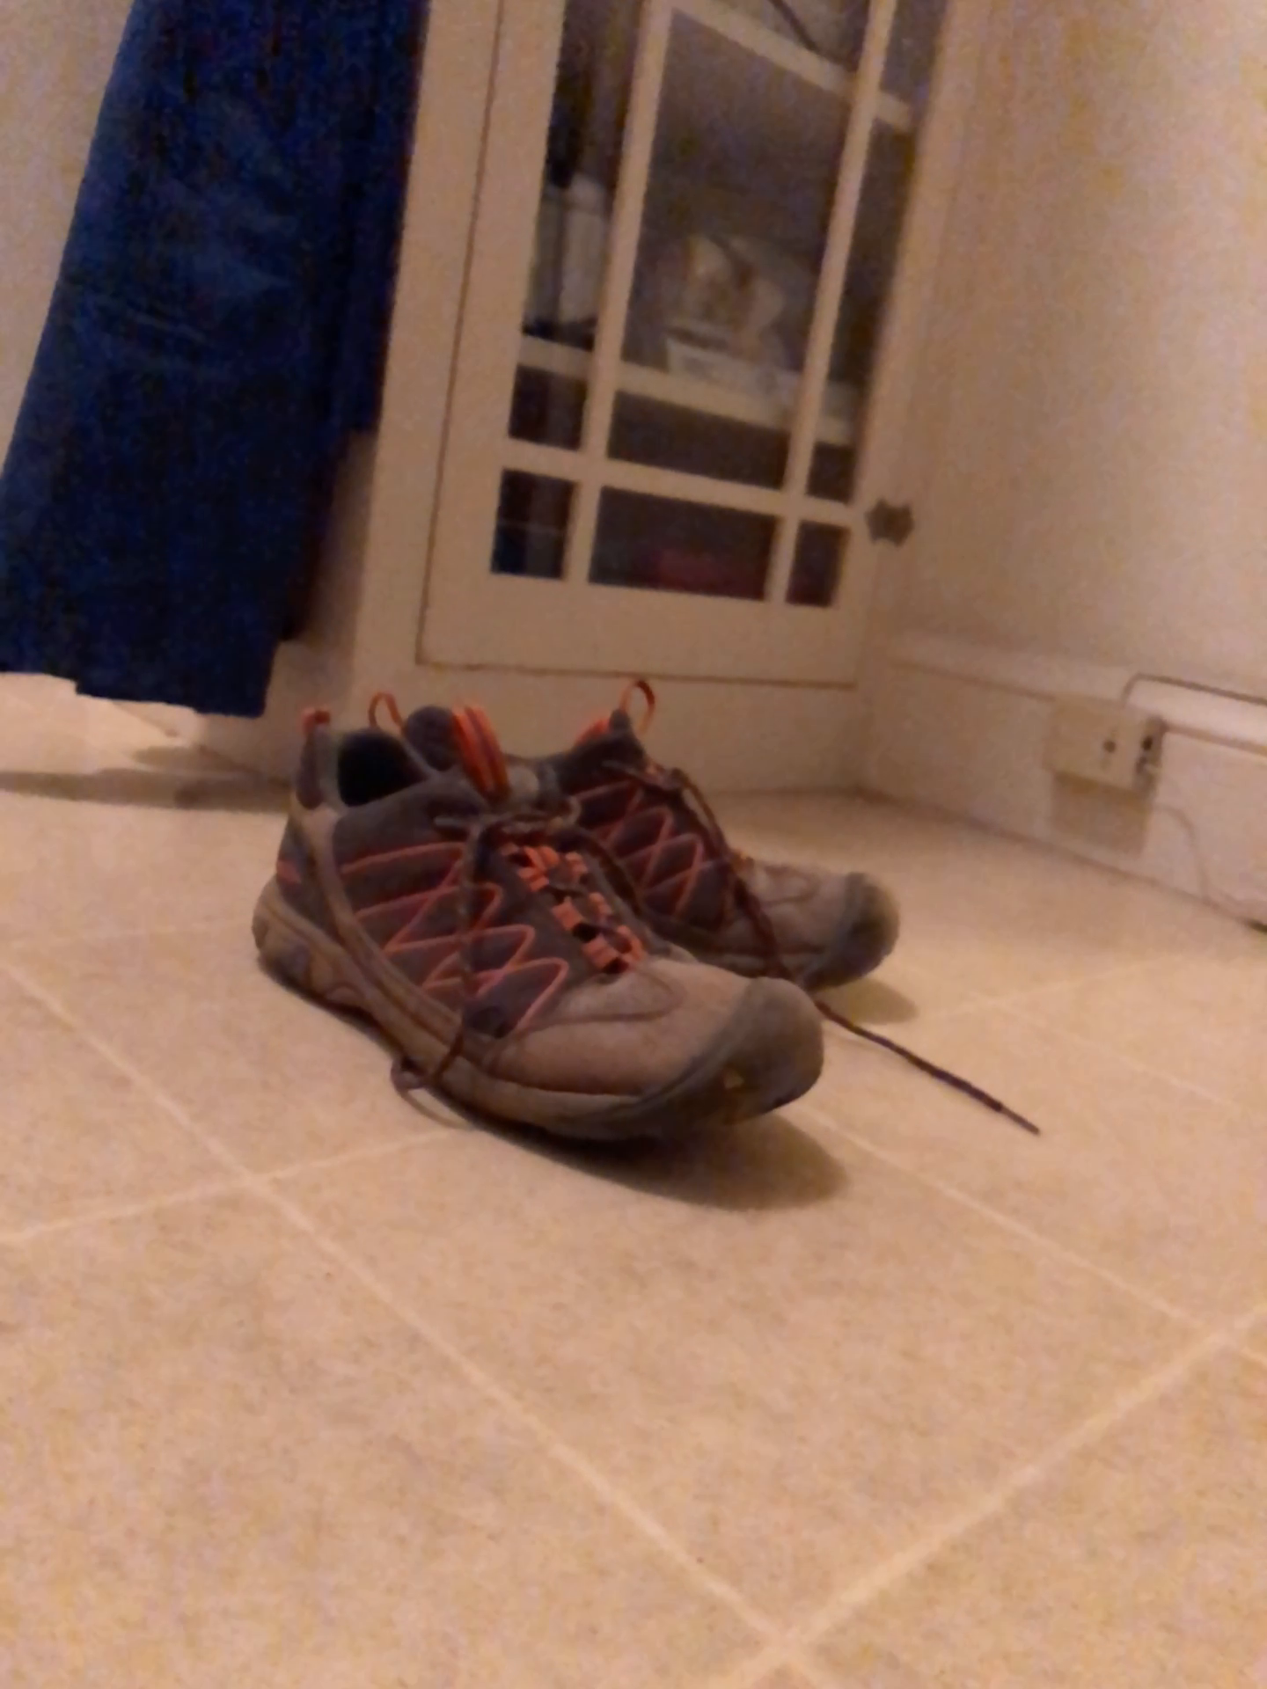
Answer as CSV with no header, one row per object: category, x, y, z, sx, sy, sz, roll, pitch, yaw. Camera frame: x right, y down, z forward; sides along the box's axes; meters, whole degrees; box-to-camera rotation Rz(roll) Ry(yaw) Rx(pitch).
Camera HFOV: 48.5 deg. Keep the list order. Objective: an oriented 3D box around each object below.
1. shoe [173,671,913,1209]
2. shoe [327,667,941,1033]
shoe,-0.053,0.018,0.591,0.292,0.122,0.127,20,16,39
shoe,0.000,-0.004,0.746,0.282,0.122,0.128,10,13,0
